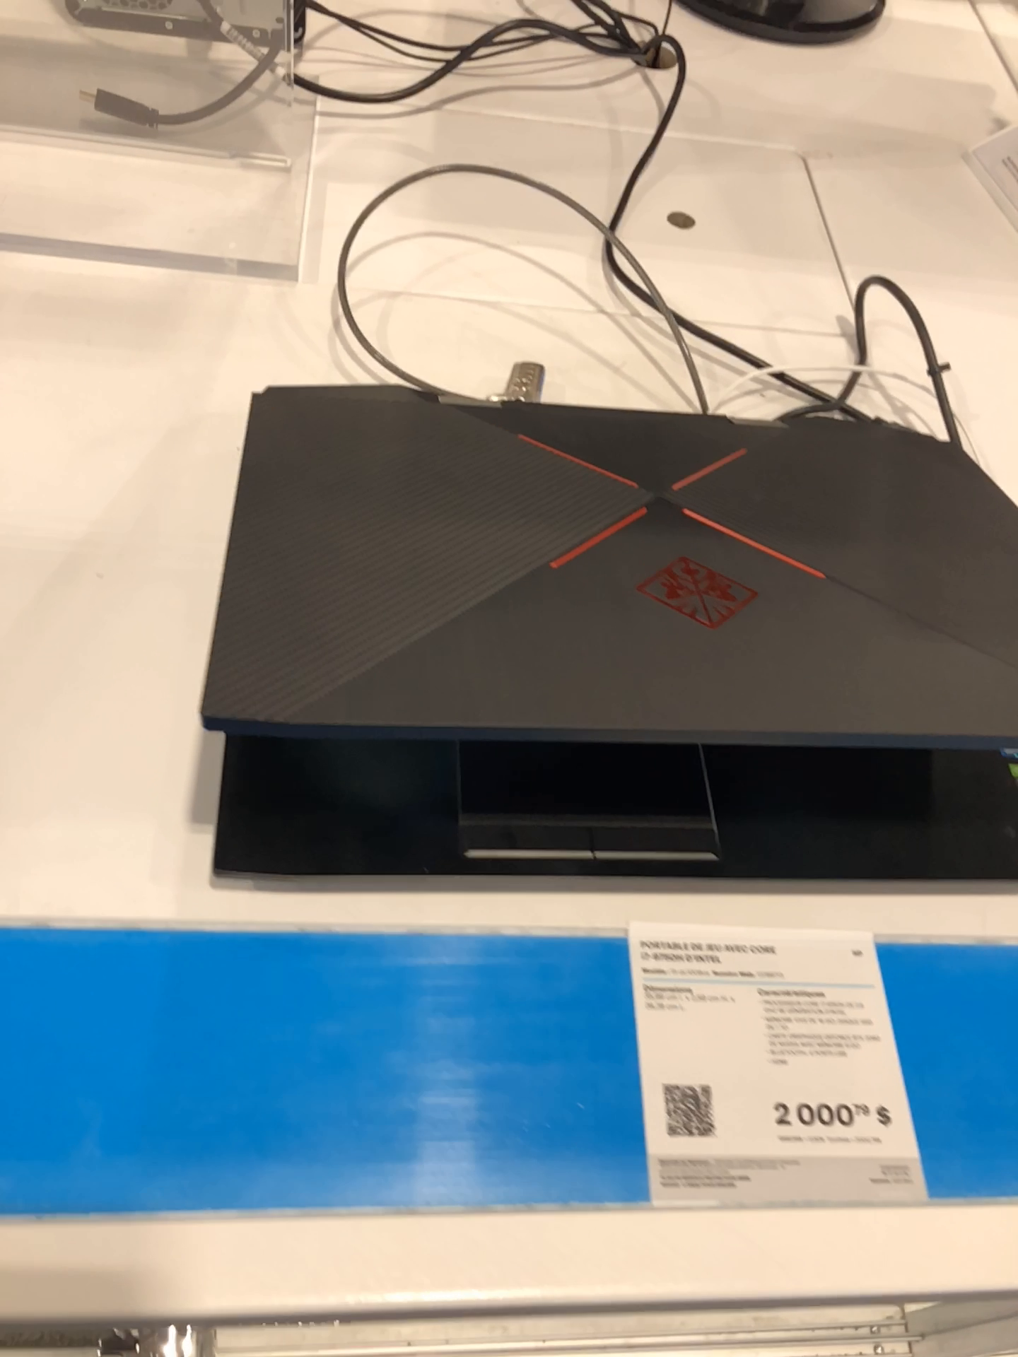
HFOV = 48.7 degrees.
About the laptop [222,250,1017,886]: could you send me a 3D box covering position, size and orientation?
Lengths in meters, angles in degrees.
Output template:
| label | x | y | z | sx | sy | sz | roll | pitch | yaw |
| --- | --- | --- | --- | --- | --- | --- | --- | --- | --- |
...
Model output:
| label | x | y | z | sx | sy | sz | roll | pitch | yaw |
| --- | --- | --- | --- | --- | --- | --- | --- | --- | --- |
| laptop | 0.072 | -0.046 | 0.458 | 0.346 | 0.085 | 0.235 | 3 | 56 | -9 |
